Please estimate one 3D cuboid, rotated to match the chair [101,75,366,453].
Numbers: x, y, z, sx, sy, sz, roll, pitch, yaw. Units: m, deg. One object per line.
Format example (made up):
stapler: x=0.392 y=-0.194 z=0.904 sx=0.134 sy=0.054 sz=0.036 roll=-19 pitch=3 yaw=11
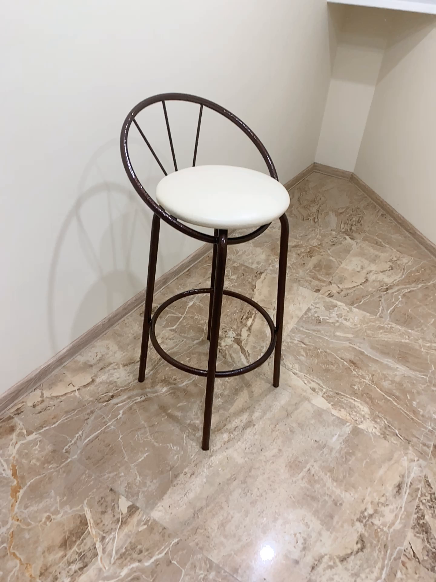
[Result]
chair: x=0.014 y=-0.063 z=1.192 sx=0.401 sy=0.835 sz=0.401 roll=31 pitch=44 yaw=31
